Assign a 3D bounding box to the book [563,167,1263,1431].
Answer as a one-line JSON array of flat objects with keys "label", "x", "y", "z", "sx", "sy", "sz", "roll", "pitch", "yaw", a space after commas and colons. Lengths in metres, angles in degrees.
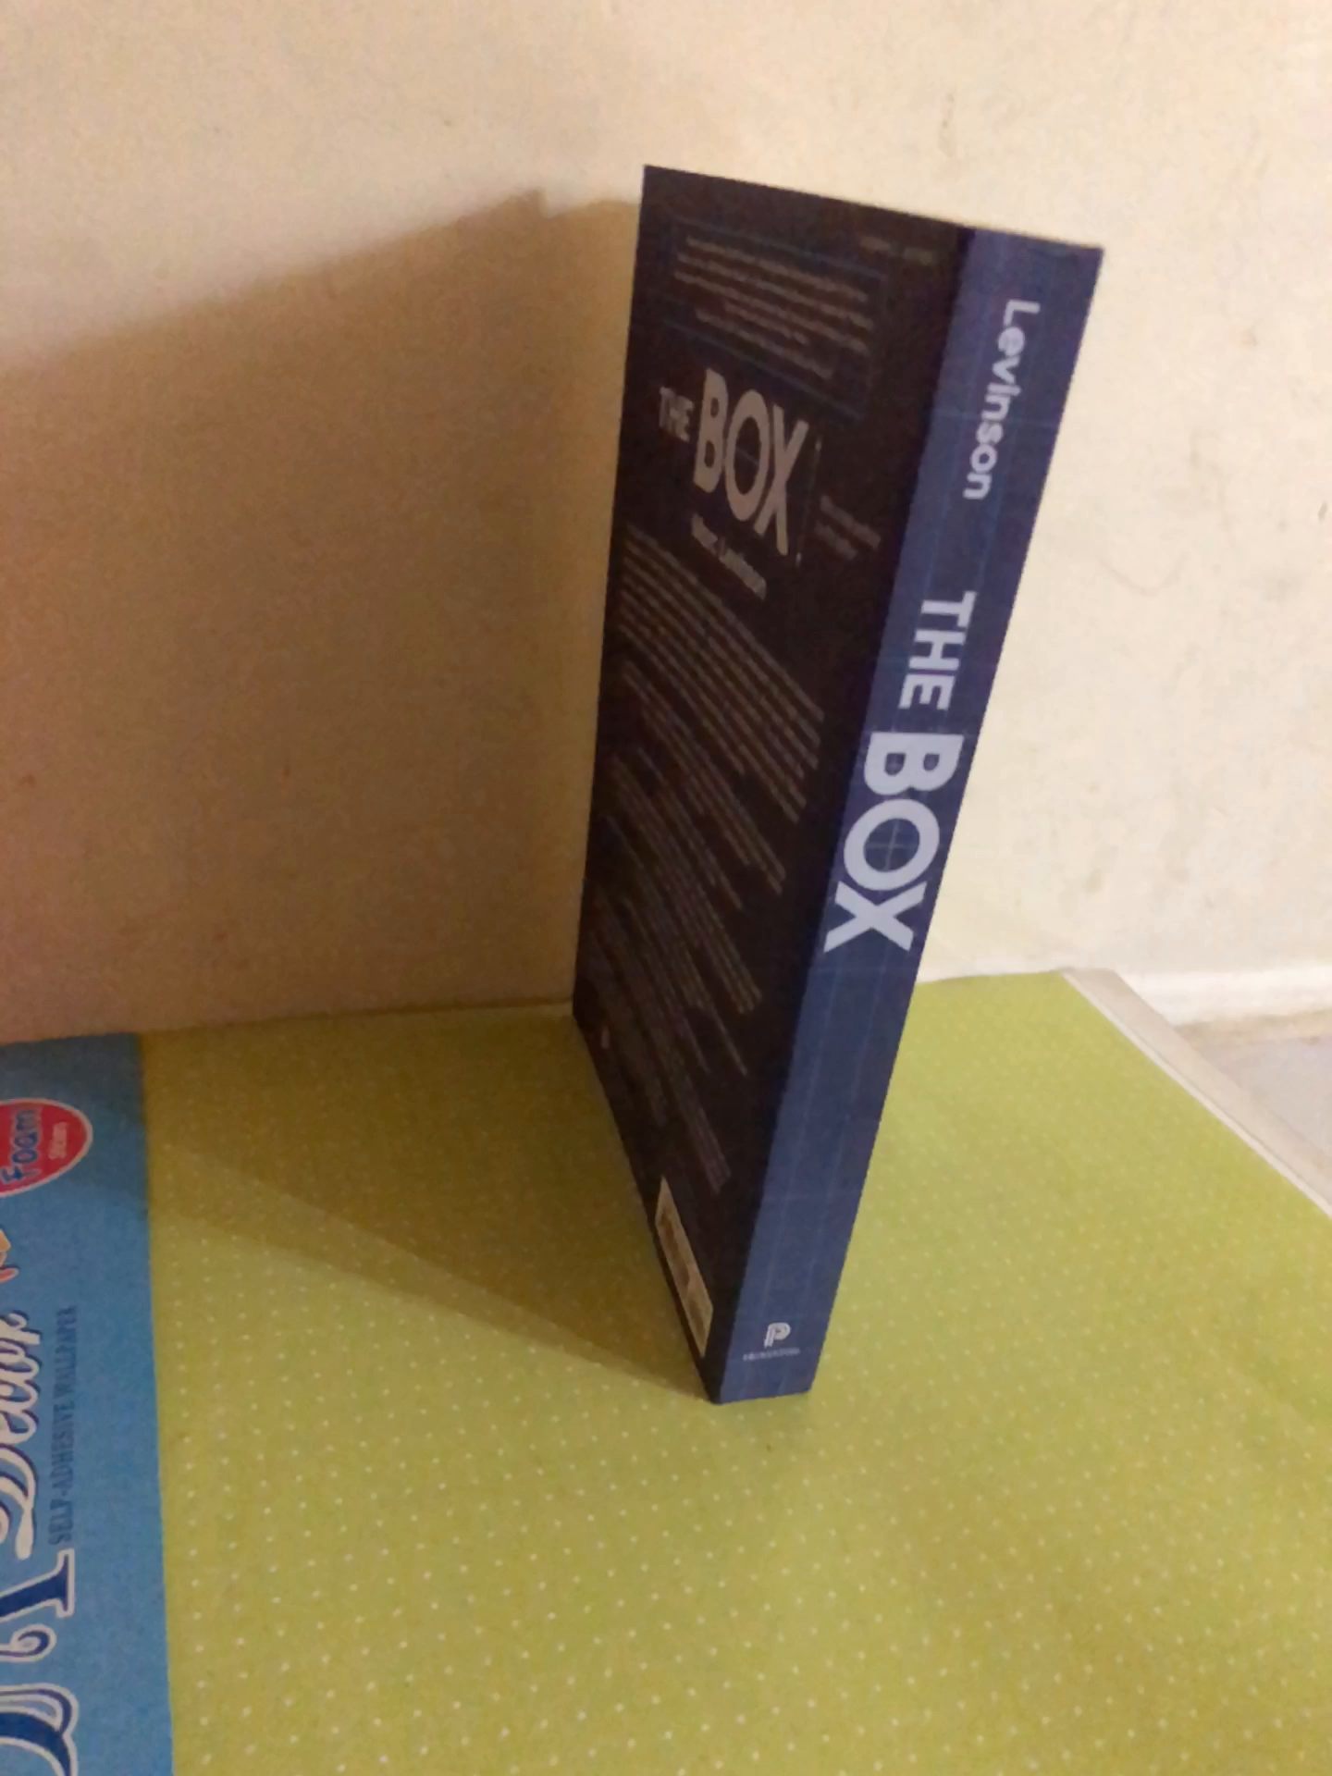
[{"label": "book", "x": 0.026, "y": -0.033, "z": 0.325, "sx": 0.050, "sy": 0.219, "sz": 0.181, "roll": 2, "pitch": 25, "yaw": -14}]
